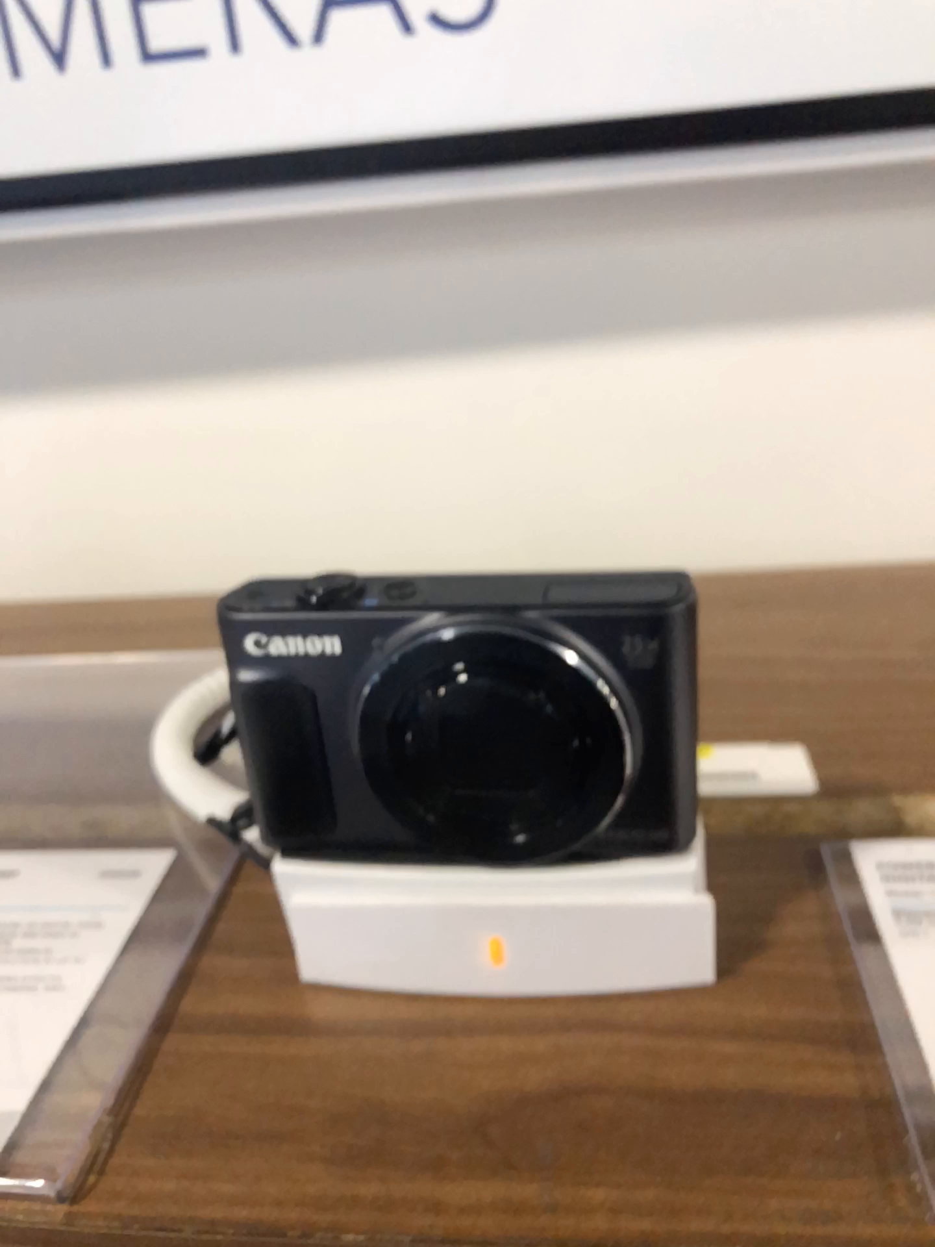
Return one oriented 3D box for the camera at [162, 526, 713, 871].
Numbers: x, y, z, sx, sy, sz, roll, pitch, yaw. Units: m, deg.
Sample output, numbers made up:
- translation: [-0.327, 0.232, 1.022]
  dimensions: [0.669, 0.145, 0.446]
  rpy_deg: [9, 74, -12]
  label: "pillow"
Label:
- translation: [-0.003, 0.015, 0.215]
  dimensions: [0.100, 0.060, 0.030]
  rpy_deg: [-2, 22, 9]
  label: "camera"
